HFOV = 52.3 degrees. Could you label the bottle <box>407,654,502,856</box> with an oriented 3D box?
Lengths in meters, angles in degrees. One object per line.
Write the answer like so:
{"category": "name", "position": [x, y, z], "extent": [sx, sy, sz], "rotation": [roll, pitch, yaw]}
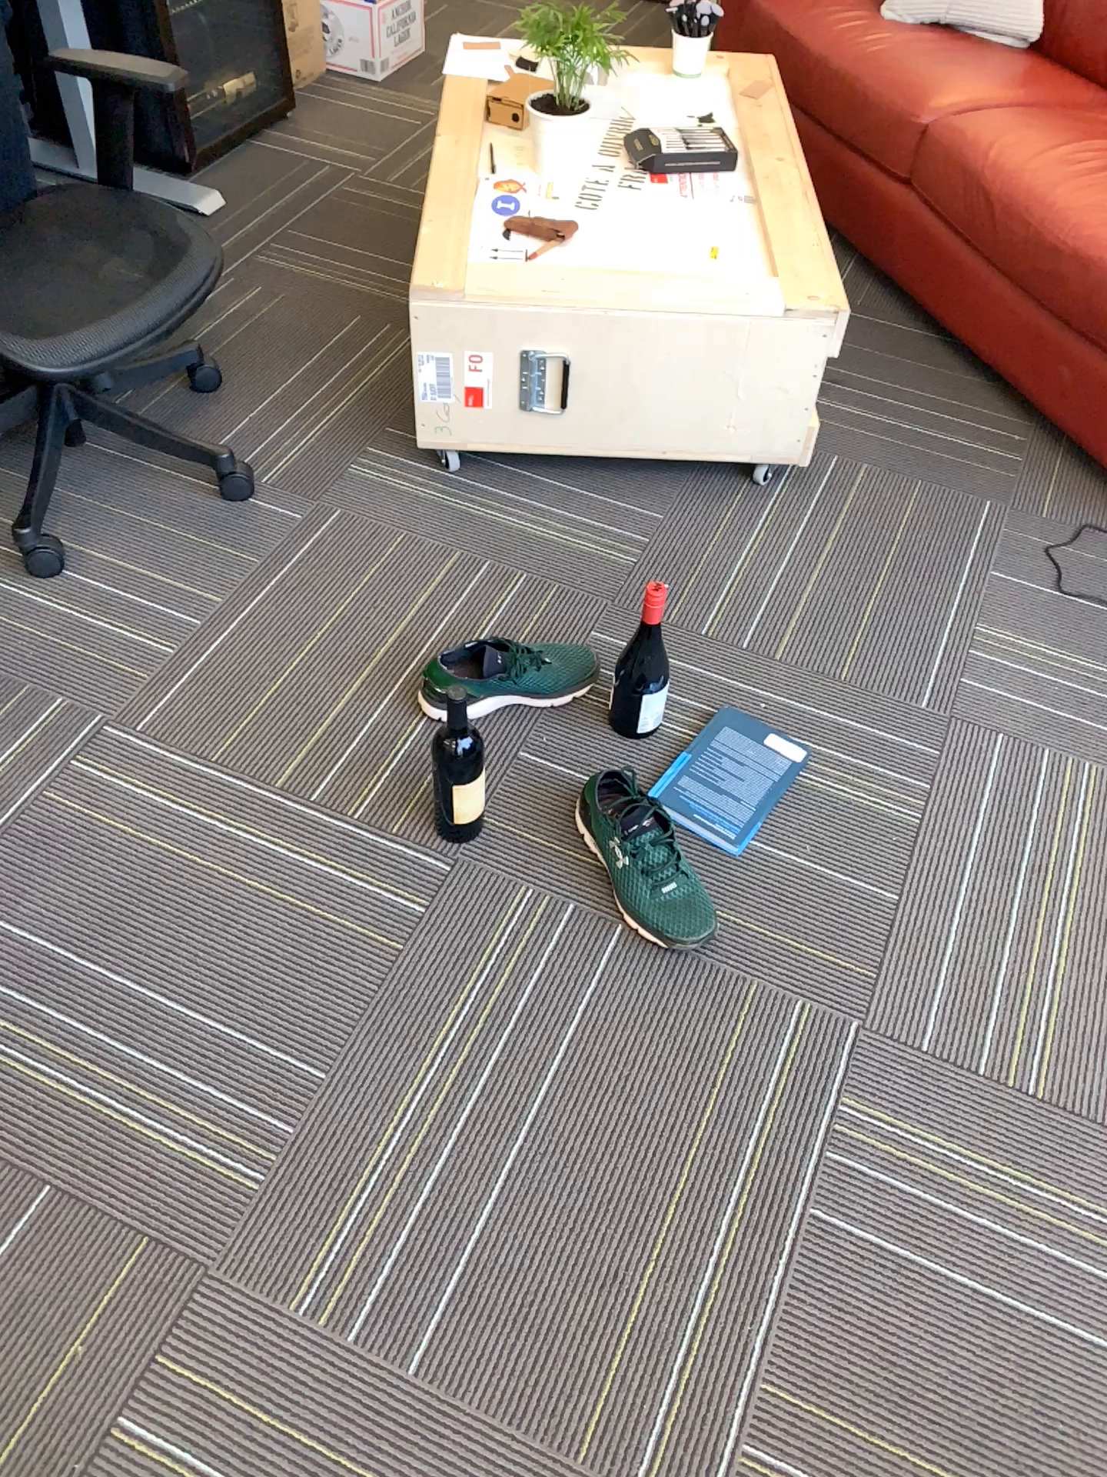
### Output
{"category": "bottle", "position": [-0.133, 0.029, 1.536], "extent": [0.090, 0.289, 0.080], "rotation": [38, 58, 25]}

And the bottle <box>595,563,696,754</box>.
{"category": "bottle", "position": [0.133, -0.113, 1.683], "extent": [0.090, 0.289, 0.080], "rotation": [31, 55, 20]}
